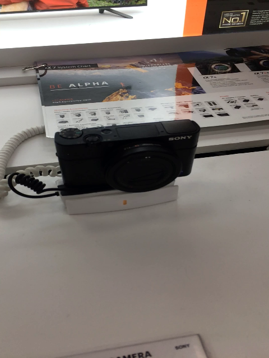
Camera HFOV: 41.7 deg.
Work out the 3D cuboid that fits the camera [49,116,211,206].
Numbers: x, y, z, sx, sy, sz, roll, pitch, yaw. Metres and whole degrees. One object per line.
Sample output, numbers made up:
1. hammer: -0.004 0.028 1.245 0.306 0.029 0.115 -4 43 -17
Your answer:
1. camera: -0.004 -0.014 0.291 0.115 0.066 0.029 -7 51 -7
